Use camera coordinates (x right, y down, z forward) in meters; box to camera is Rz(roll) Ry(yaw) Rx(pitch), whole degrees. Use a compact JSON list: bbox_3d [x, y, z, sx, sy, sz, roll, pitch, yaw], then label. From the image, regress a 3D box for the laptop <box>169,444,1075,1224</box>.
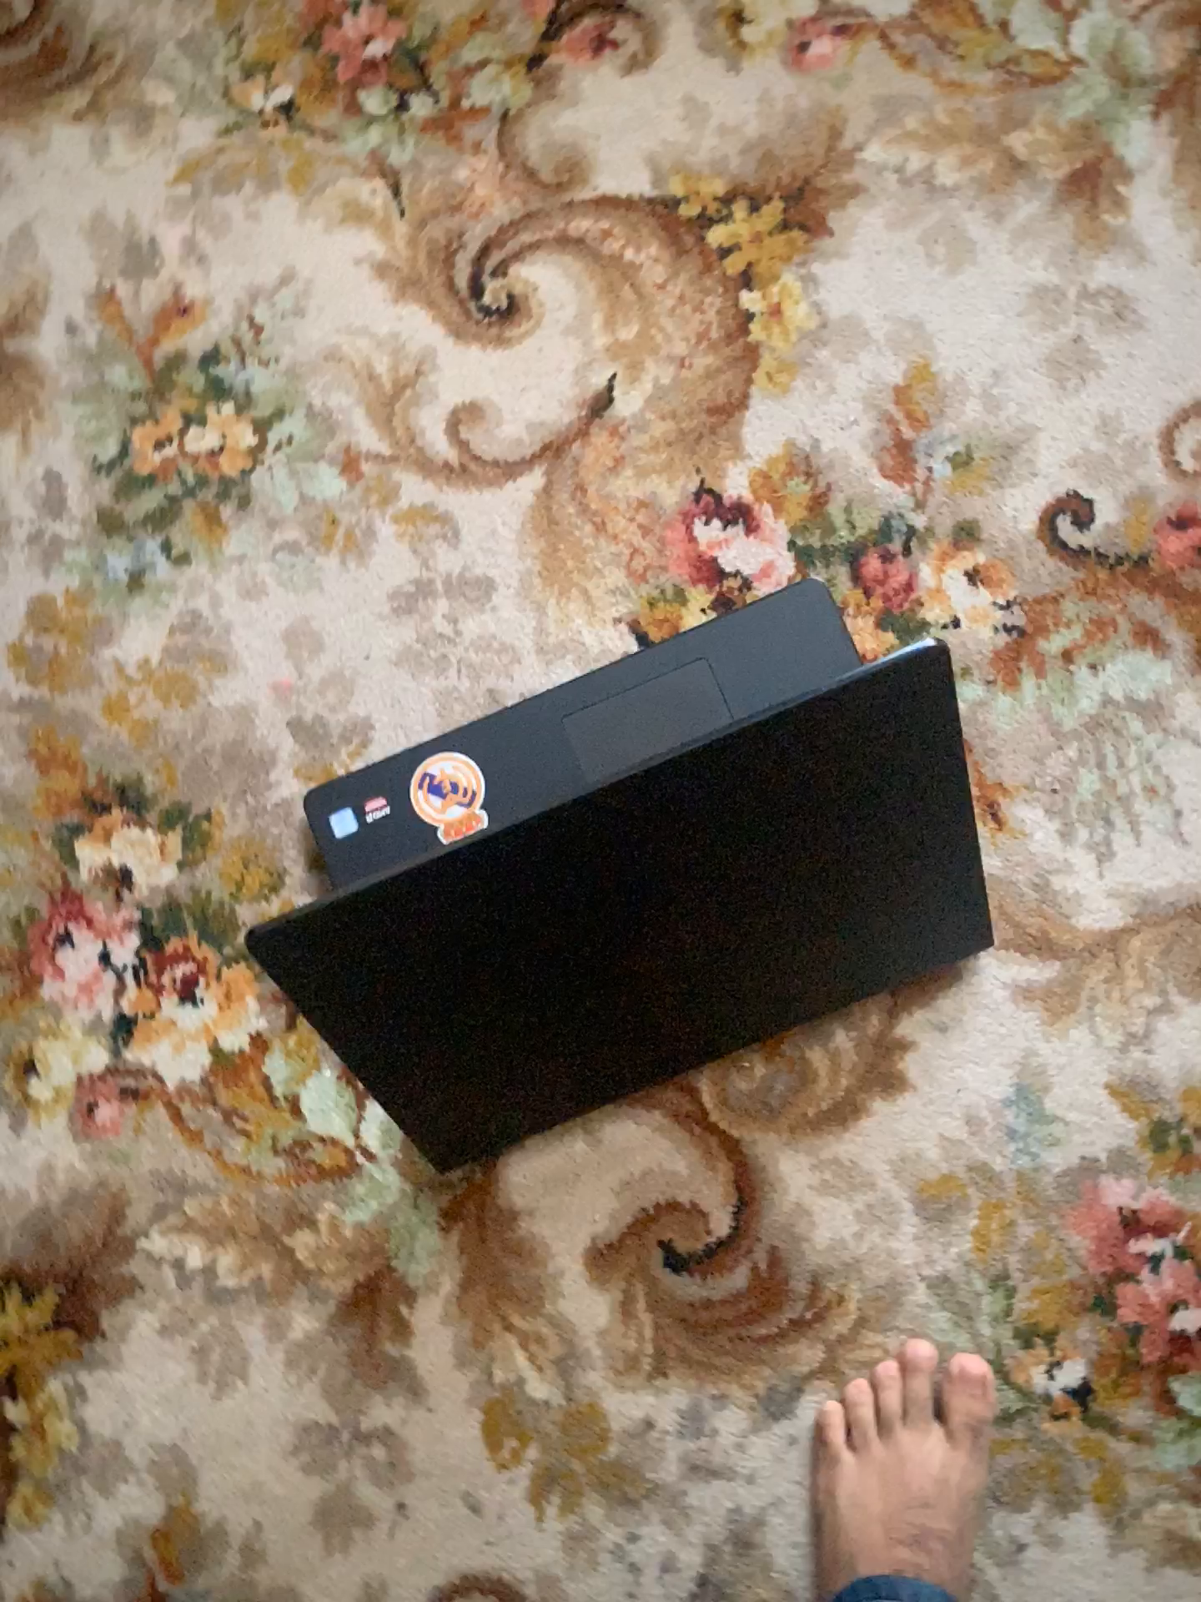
[{"bbox_3d":[0.010,0.026,0.686,0.366,0.194,0.251,-24,82,3],"label":"laptop"}]
